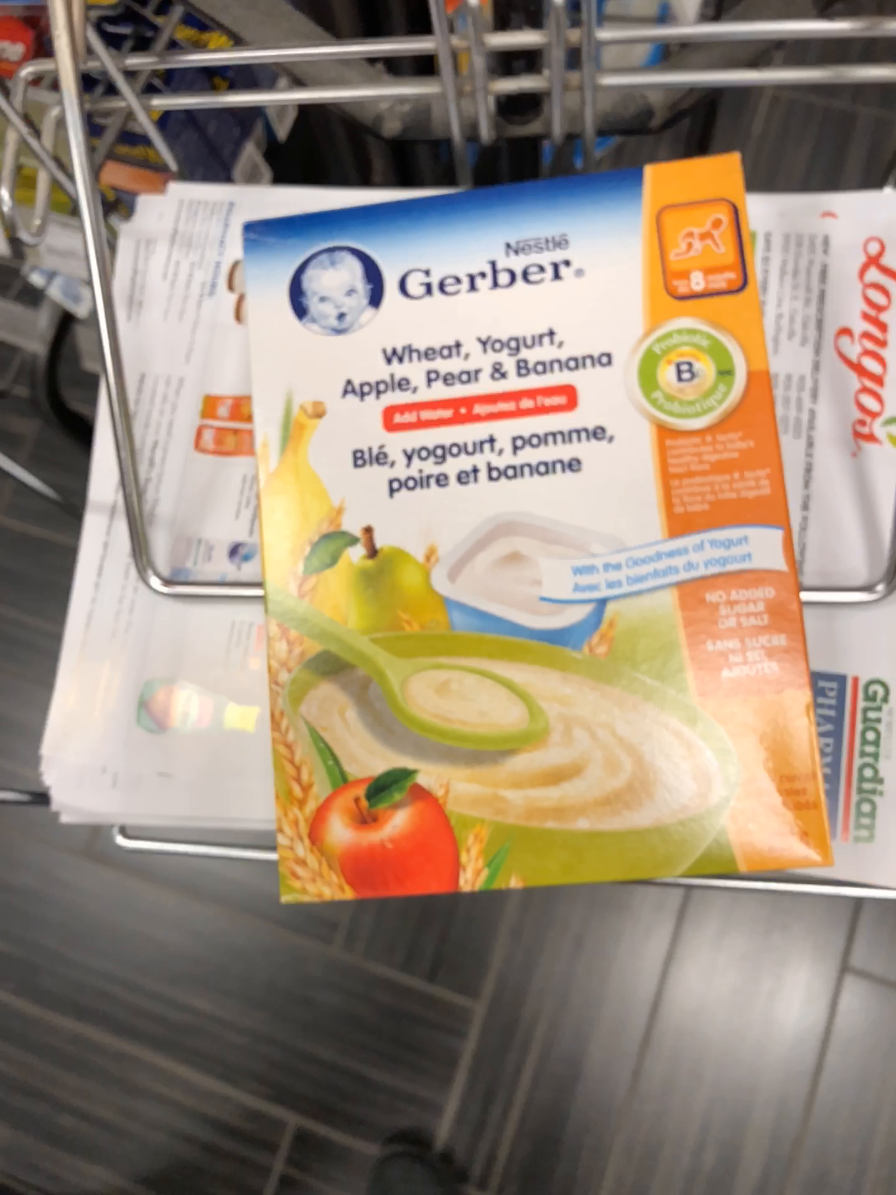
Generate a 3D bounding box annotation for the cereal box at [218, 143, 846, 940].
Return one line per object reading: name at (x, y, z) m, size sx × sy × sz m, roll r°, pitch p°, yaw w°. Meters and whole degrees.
cereal box at (0.016, -0.013, 0.287) m, size 0.150 × 0.050 × 0.200 m, roll -5°, pitch 79°, yaw 8°
